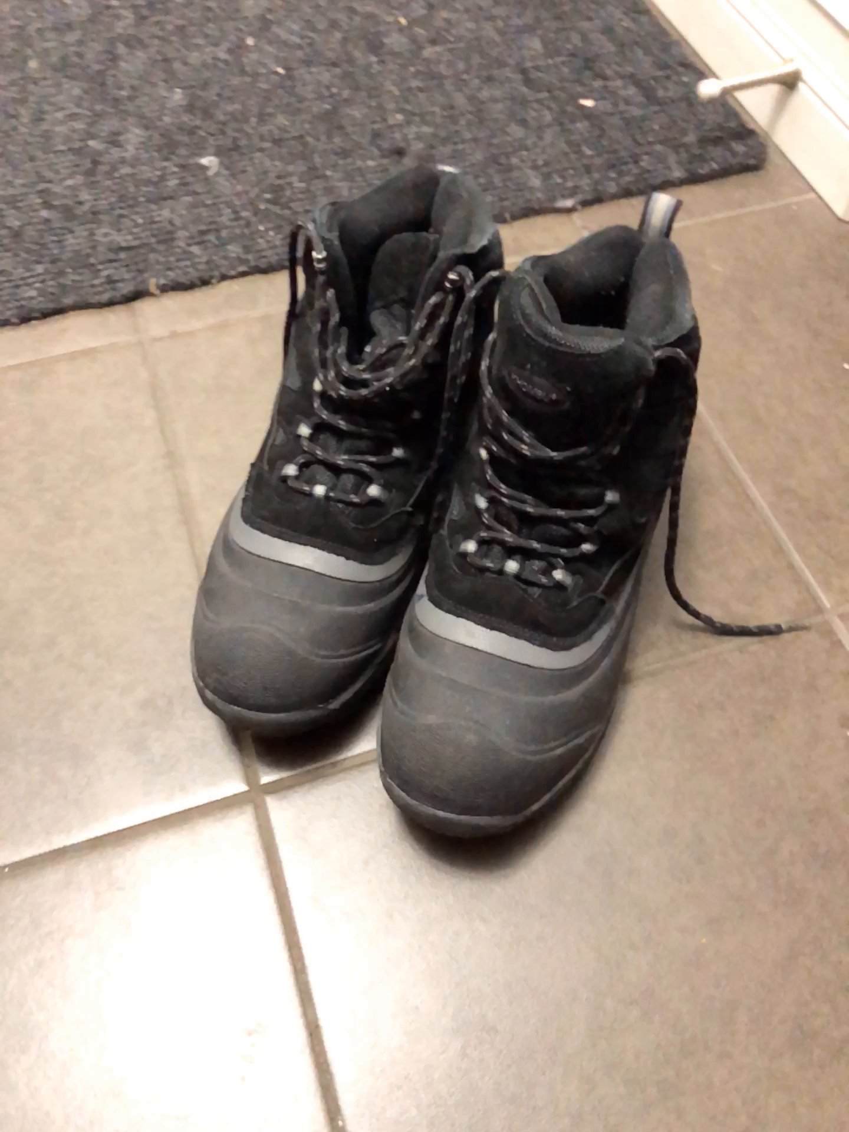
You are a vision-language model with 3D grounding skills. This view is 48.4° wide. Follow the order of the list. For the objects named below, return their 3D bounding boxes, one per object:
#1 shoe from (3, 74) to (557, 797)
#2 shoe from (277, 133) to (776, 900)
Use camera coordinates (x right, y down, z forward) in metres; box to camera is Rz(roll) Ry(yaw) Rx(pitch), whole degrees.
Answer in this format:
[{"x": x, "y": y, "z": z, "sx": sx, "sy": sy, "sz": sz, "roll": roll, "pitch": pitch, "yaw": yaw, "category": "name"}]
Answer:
[{"x": -0.045, "y": -0.068, "z": 0.486, "sx": 0.120, "sy": 0.200, "sz": 0.290, "roll": 18, "pitch": 59, "yaw": 10, "category": "shoe"}, {"x": 0.056, "y": -0.024, "z": 0.458, "sx": 0.120, "sy": 0.200, "sz": 0.290, "roll": 17, "pitch": 58, "yaw": 10, "category": "shoe"}]
